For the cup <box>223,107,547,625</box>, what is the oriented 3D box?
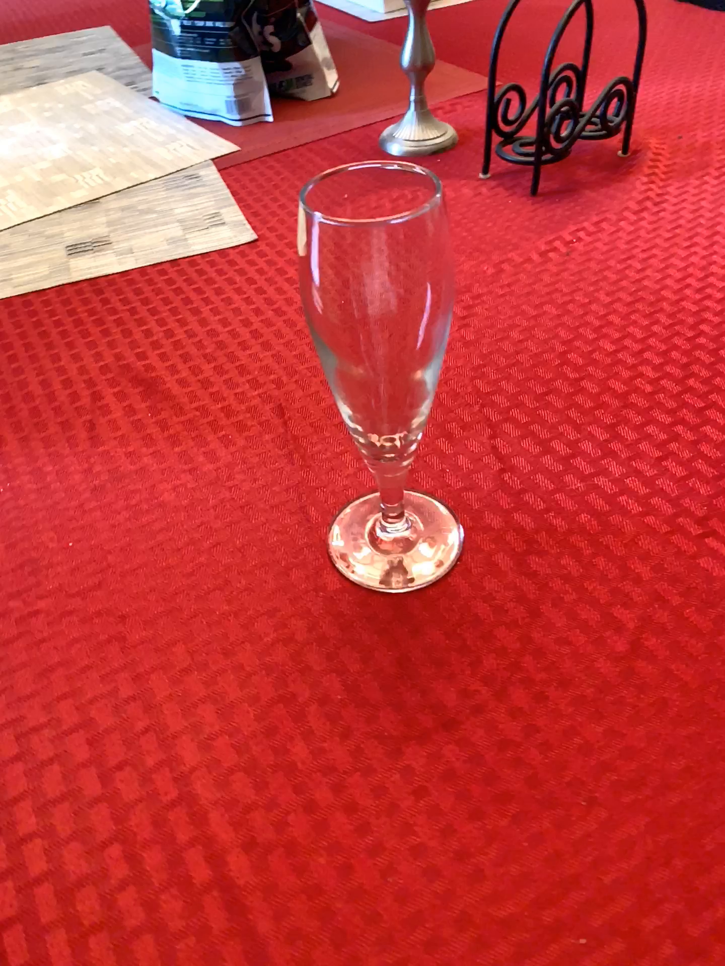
[{"bbox_3d":[0.010,-0.038,0.304,0.080,0.179,0.080,-3,45,3],"label":"cup"}]
